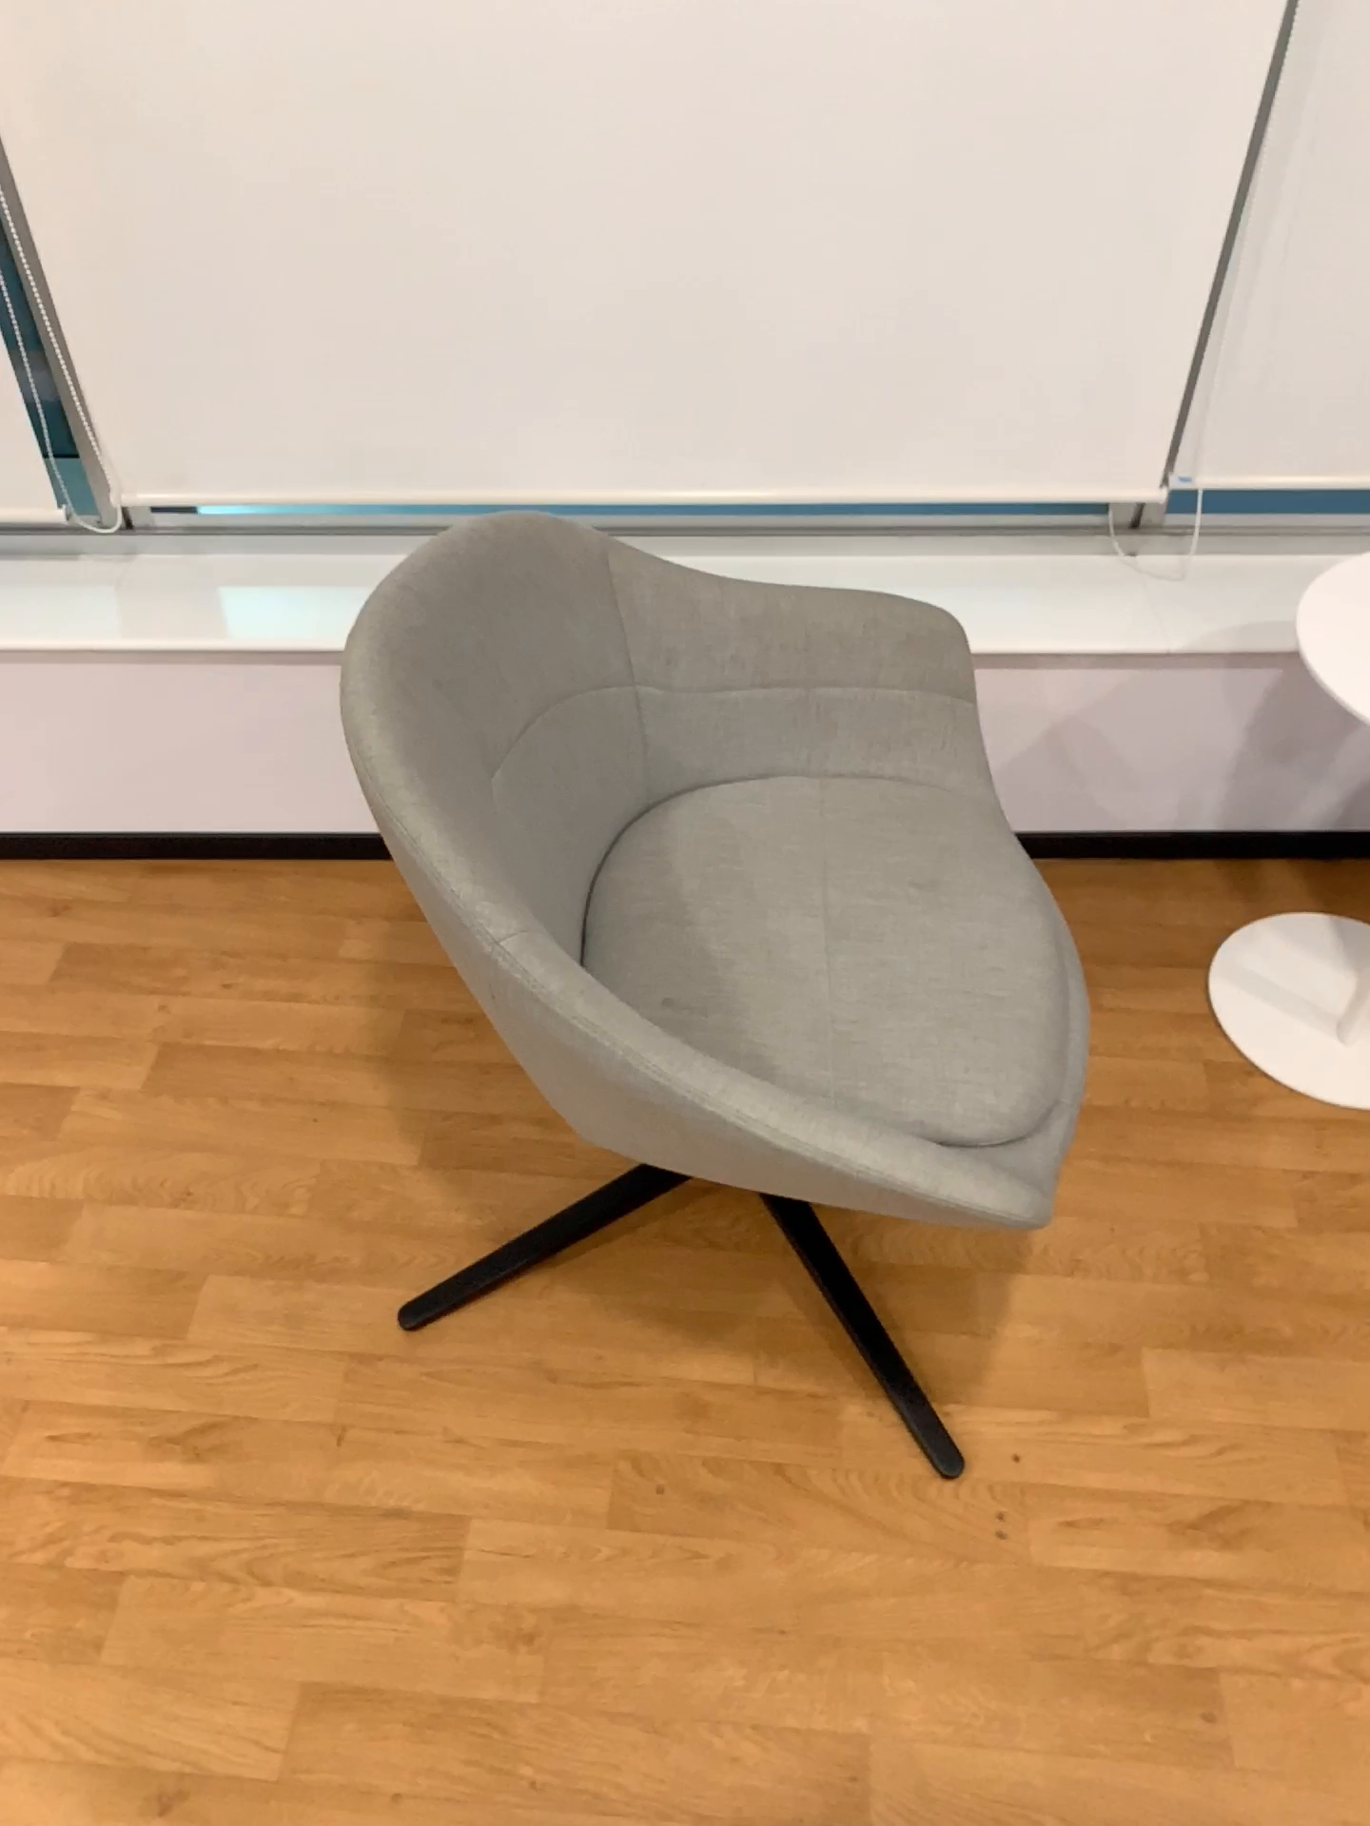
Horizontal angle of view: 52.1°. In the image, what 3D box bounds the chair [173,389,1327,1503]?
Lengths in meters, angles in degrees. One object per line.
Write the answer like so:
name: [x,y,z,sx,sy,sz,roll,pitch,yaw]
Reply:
chair: [0.059,0.035,1.329,0.680,0.754,0.675,4,45,4]
